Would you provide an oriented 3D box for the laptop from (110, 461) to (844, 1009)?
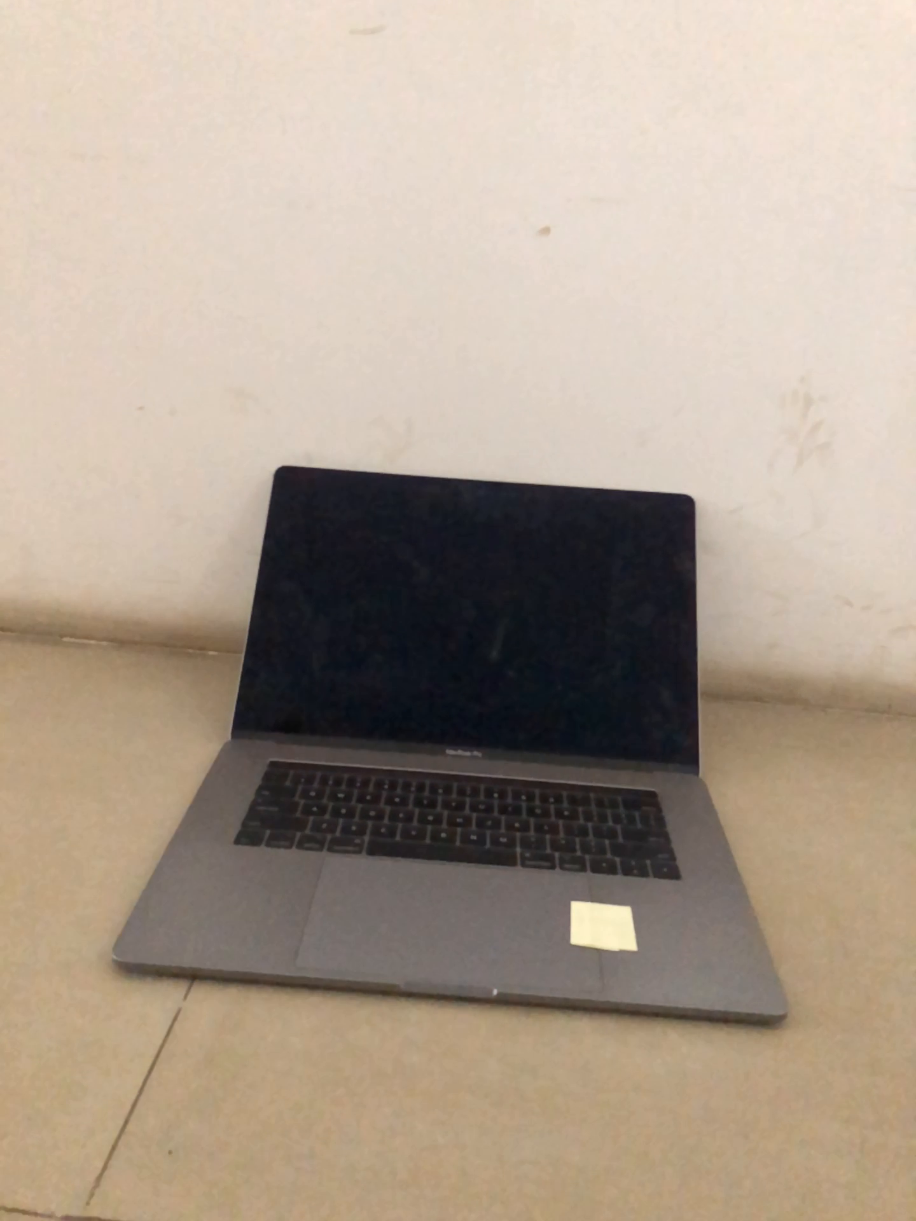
[{"bbox_3d":[0.009,0.039,0.652,0.329,0.163,0.382,5,21,1],"label":"laptop"}]
